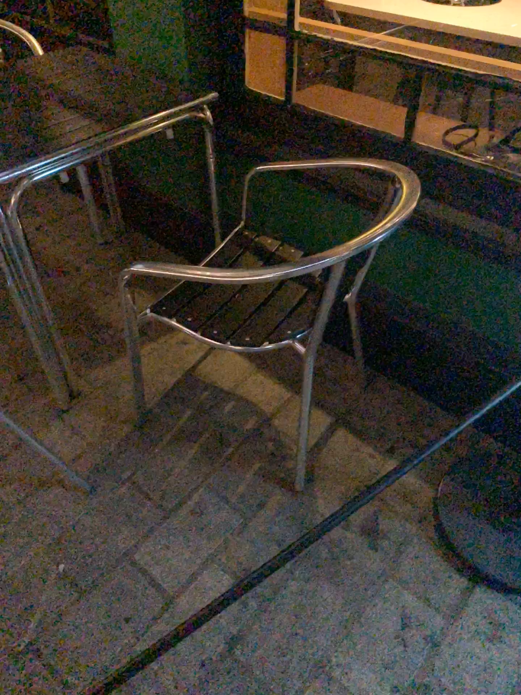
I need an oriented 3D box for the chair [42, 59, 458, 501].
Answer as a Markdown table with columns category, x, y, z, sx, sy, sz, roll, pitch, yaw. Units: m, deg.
| category | x | y | z | sx | sy | sz | roll | pitch | yaw |
| --- | --- | --- | --- | --- | --- | --- | --- | --- | --- |
| chair | 0.015 | -0.203 | 1.415 | 0.652 | 0.782 | 0.665 | 22 | 48 | 22 |
